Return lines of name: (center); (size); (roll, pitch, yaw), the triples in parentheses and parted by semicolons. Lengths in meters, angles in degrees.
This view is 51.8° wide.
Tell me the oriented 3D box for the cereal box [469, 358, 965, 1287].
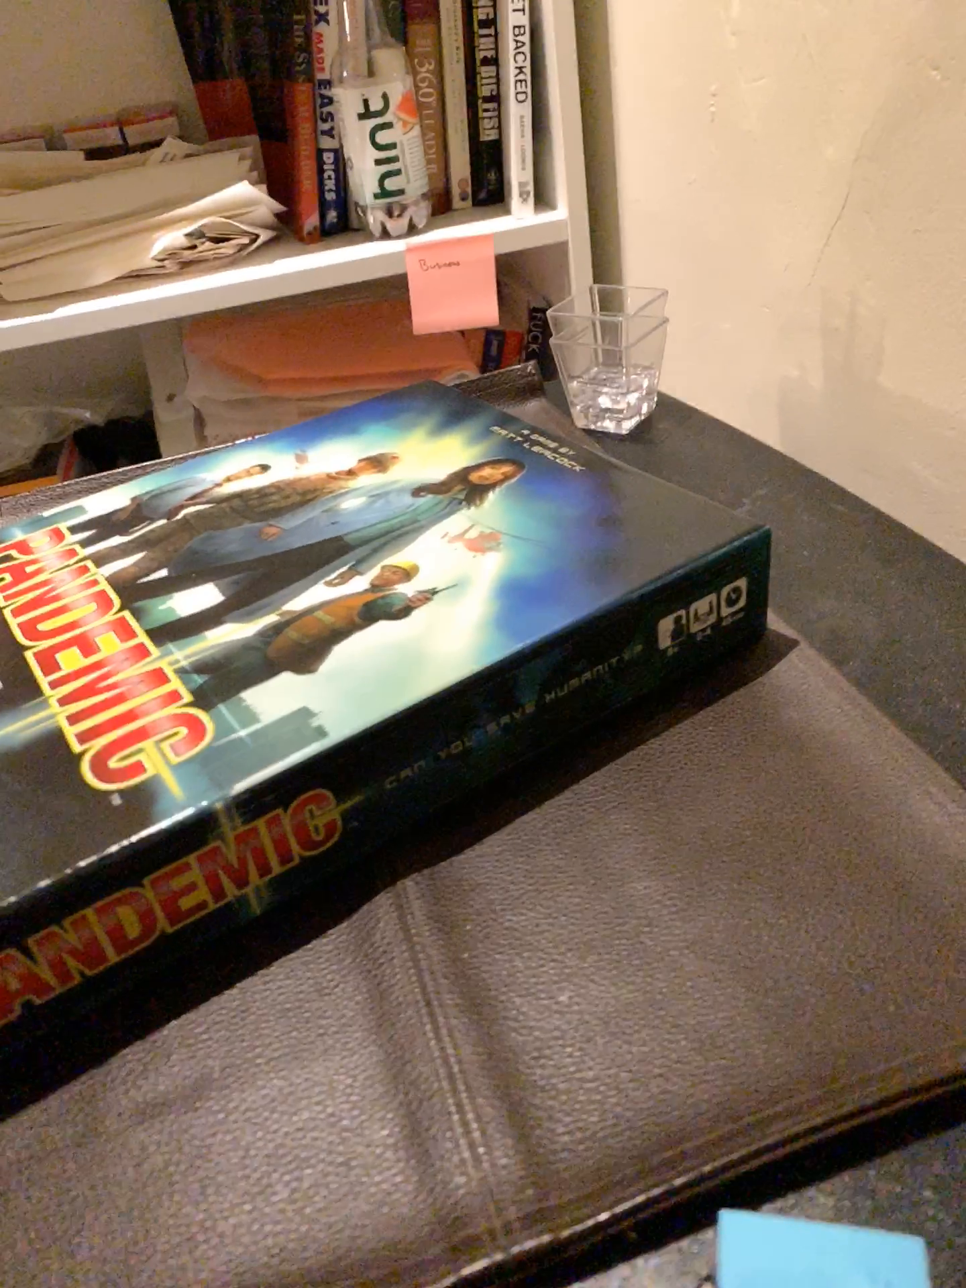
cereal box: (0.379, 0.259, 1.127); (0.472, 0.994, 0.512); (9, 38, 26)
